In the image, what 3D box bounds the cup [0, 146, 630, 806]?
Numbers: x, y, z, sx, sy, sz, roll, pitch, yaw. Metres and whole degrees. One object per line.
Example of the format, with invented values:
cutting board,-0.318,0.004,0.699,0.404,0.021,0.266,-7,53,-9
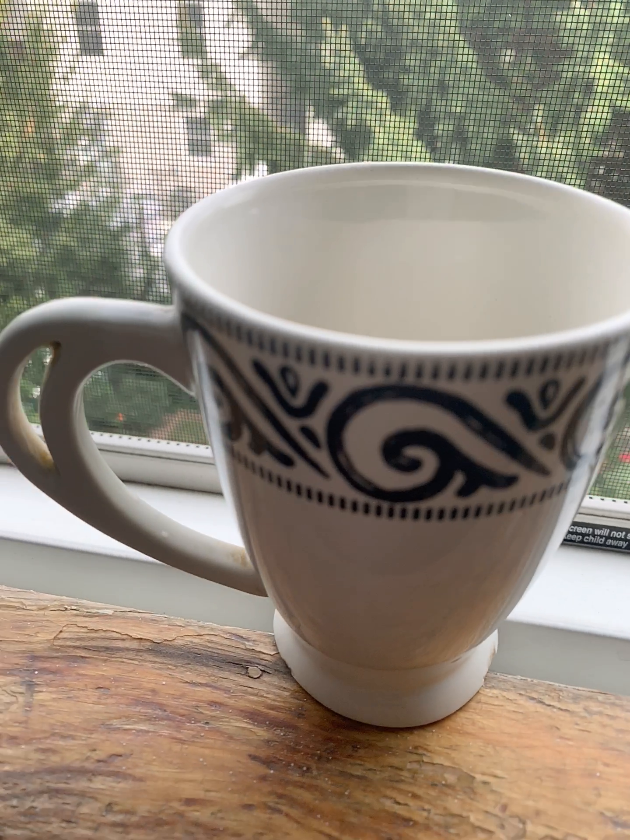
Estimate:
cup,0.006,0.004,0.127,0.130,0.089,0.081,-2,35,-5
